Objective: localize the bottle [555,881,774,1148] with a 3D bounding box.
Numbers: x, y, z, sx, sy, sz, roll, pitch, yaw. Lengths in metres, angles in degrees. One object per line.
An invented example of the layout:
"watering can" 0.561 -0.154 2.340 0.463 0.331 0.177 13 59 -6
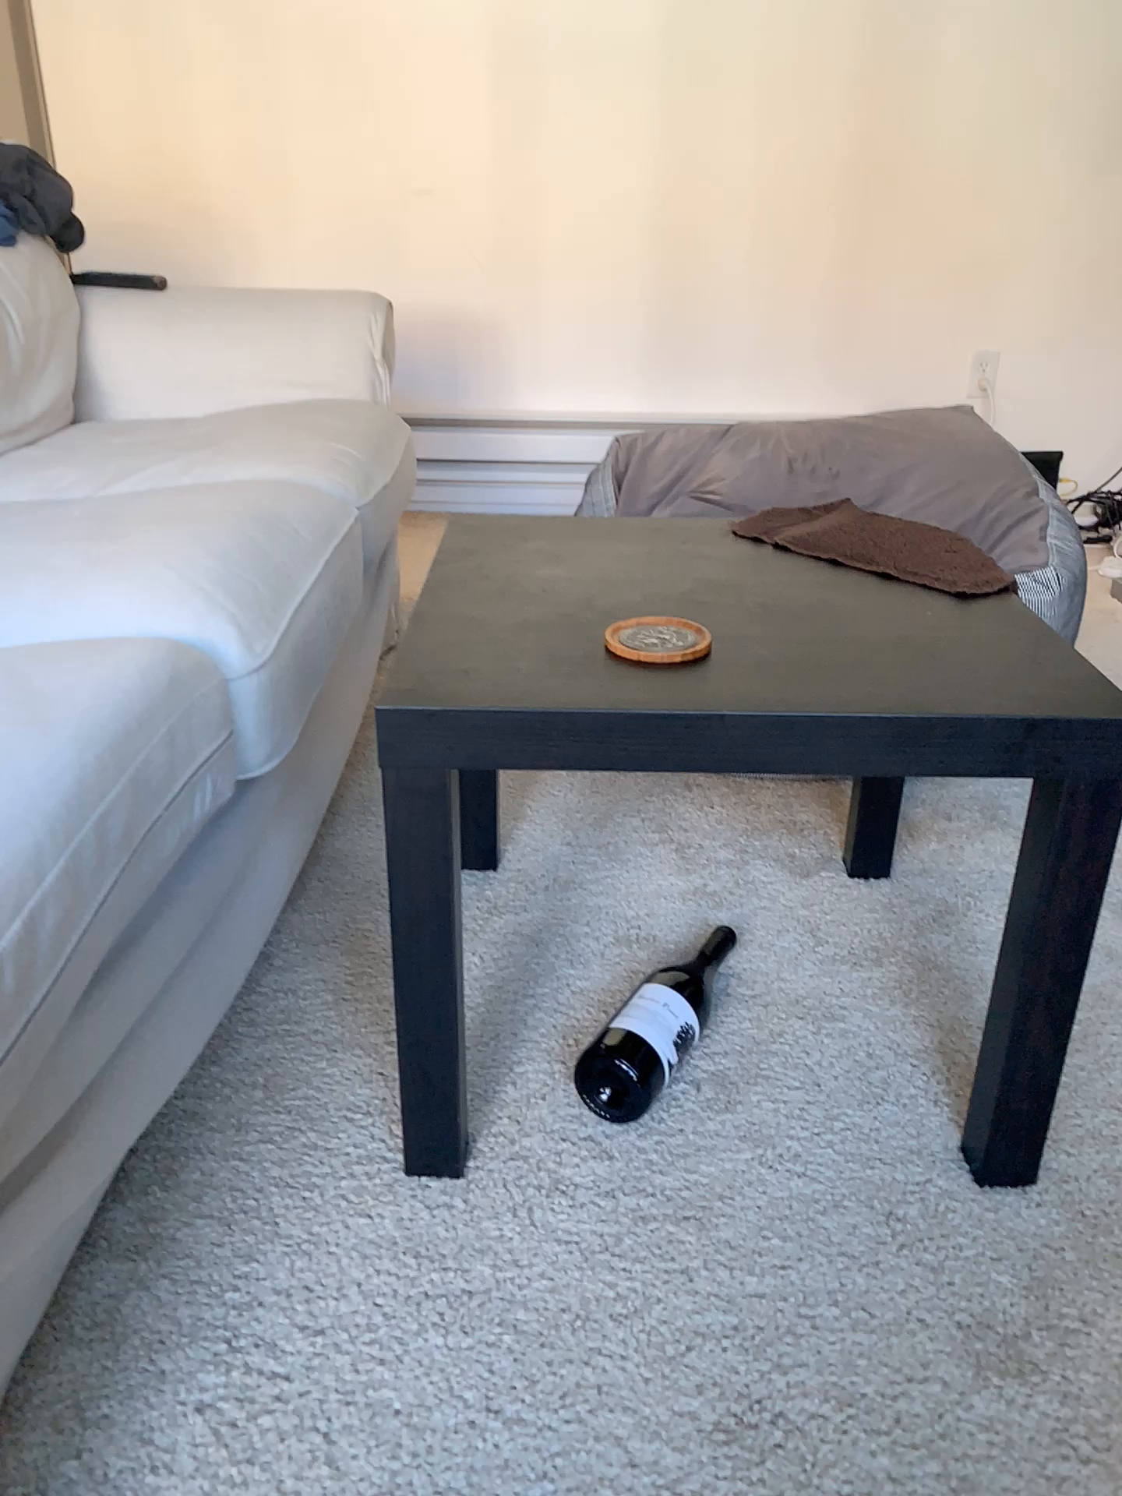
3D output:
"bottle" 0.108 0.249 1.118 0.080 0.079 0.281 31 37 16
